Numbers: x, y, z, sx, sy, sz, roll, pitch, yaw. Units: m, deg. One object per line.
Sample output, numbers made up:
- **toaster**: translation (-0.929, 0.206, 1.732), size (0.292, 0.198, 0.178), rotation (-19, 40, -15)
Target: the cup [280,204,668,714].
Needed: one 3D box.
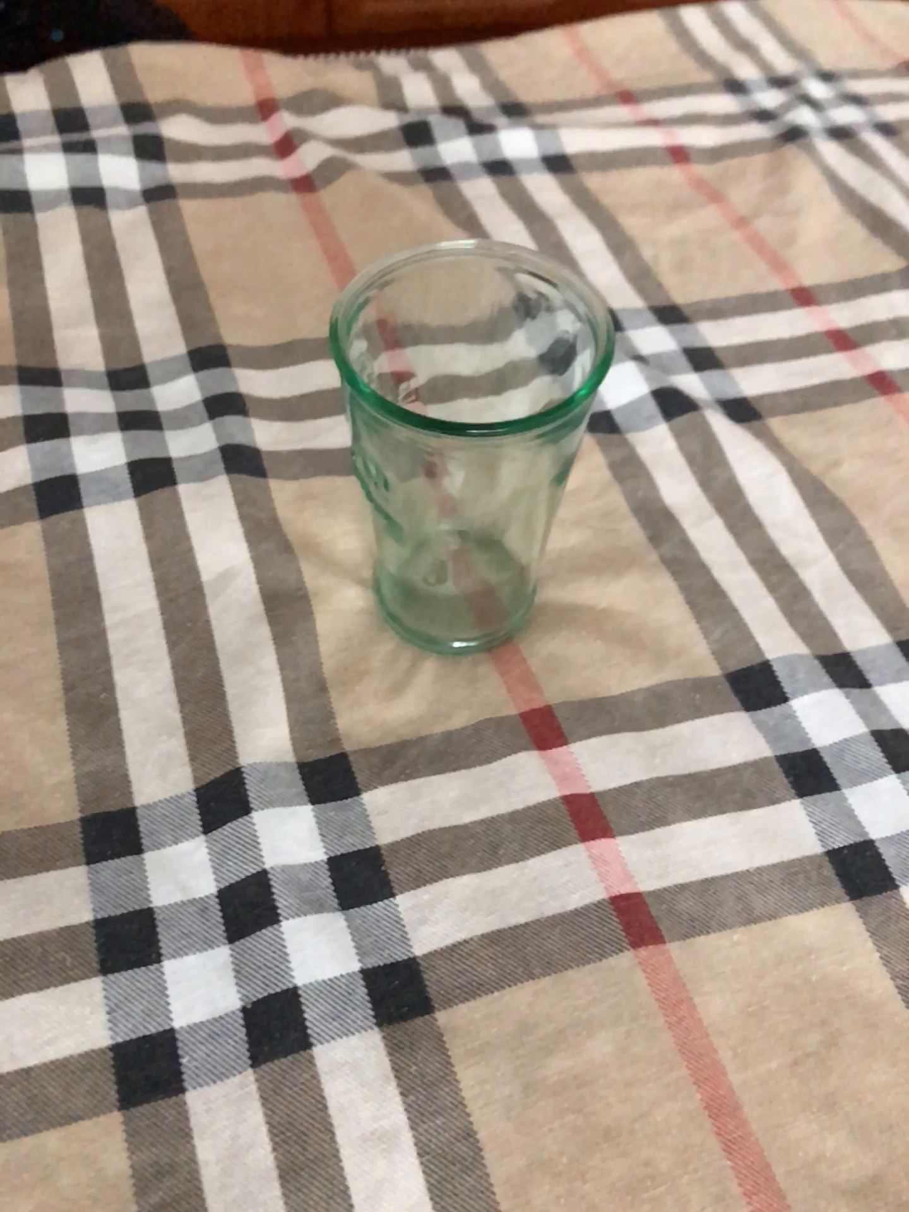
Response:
- **cup**: translation (0.004, -0.042, 0.314), size (0.082, 0.112, 0.086), rotation (3, 53, -4)
